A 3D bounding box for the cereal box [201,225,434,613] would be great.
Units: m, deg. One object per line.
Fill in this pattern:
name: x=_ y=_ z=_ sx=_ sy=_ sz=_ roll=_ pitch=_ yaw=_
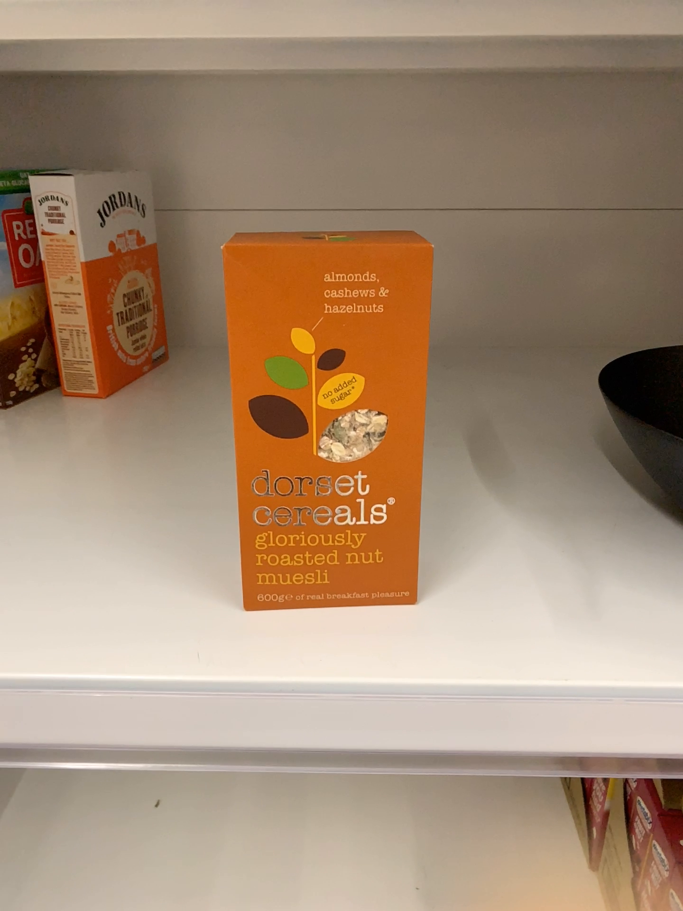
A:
cereal box: x=-0.013 y=-0.019 z=0.434 sx=0.120 sy=0.228 sz=0.060 roll=-2 pitch=23 yaw=-3
